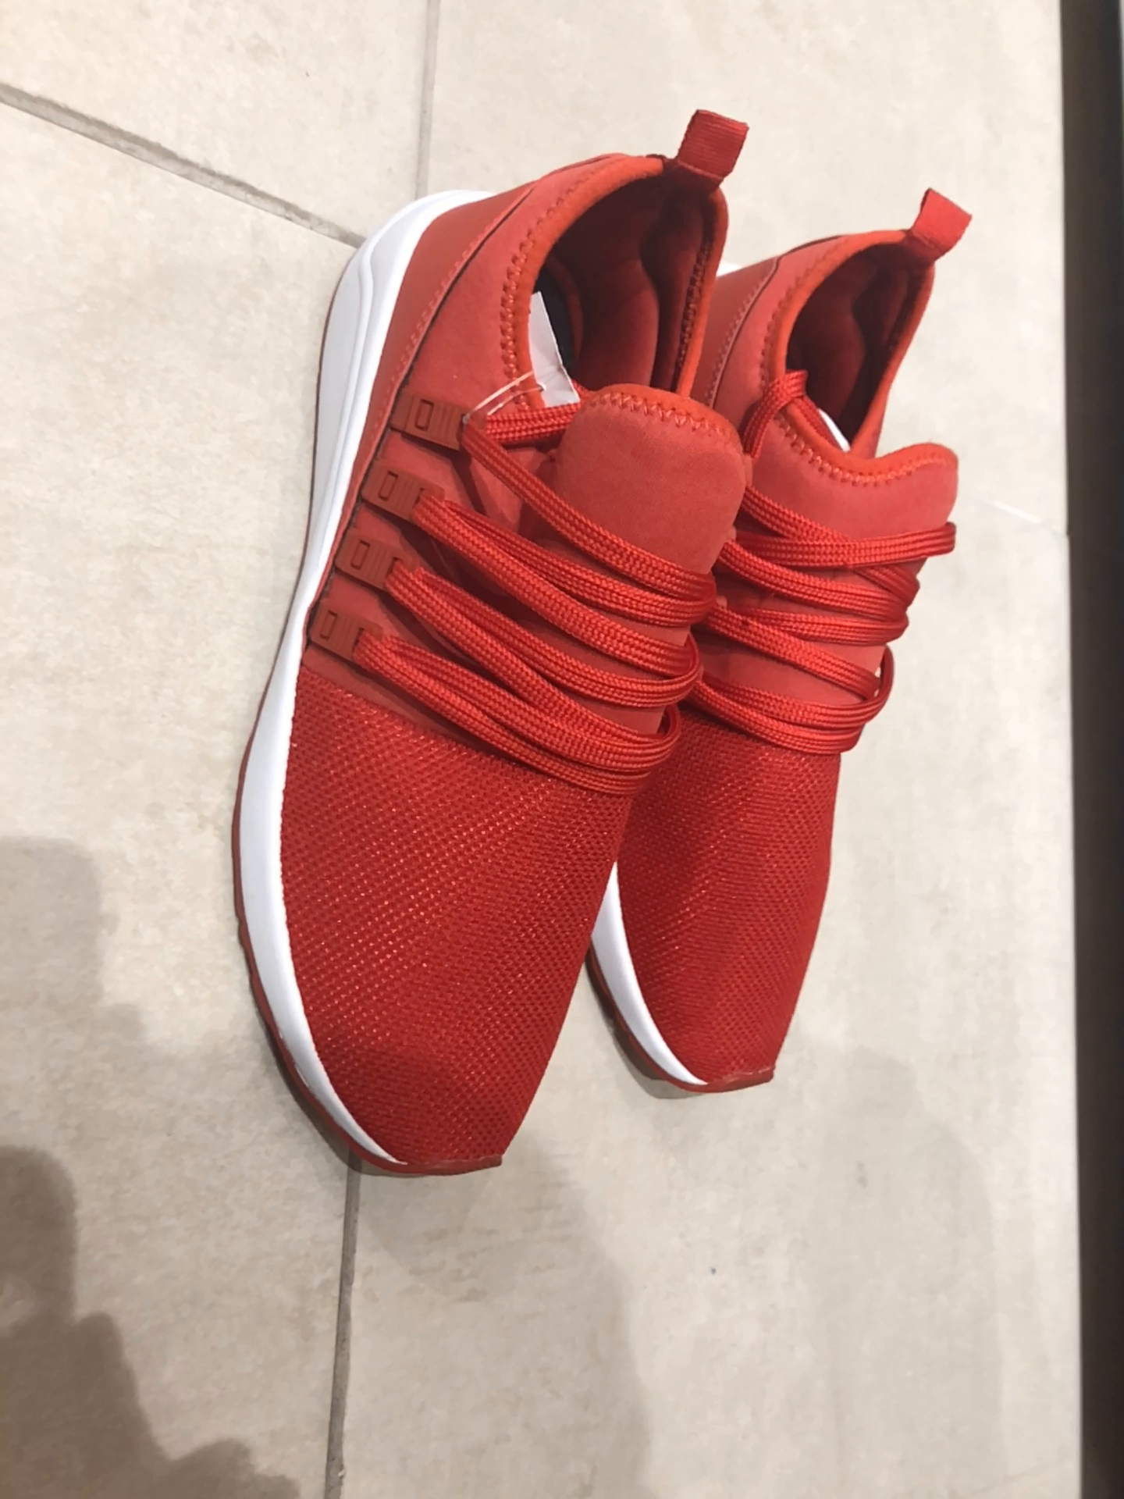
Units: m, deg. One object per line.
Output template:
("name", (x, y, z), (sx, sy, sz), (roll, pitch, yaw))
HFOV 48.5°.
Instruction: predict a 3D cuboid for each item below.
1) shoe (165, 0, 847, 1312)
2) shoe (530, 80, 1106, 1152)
("shoe", (-0.016, -0.023, 0.323), (0.101, 0.139, 0.270), (9, 80, -37))
("shoe", (0.072, -0.030, 0.394), (0.101, 0.139, 0.270), (4, 83, -37))
